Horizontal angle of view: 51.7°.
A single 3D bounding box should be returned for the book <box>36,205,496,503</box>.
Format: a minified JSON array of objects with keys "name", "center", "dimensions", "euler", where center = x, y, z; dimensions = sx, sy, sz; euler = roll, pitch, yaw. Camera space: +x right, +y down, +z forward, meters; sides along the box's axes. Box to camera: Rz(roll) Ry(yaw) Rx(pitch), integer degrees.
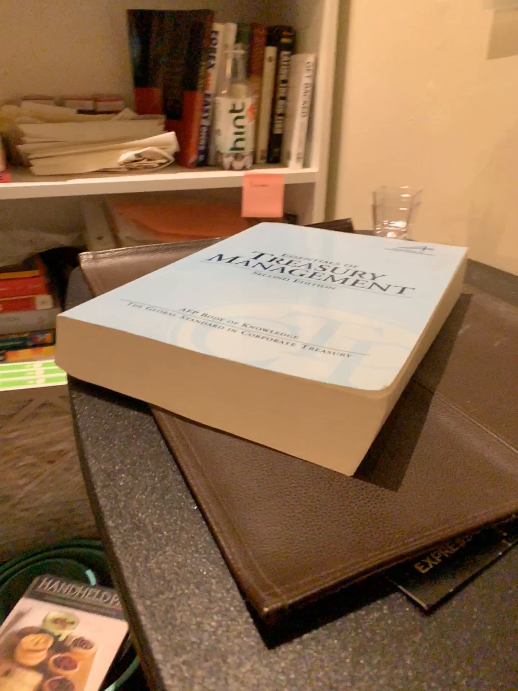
[{"name":"book","center":[0.035,-0.036,0.403],"dimensions":[0.221,0.060,0.301],"euler":[14,29,25]}]
